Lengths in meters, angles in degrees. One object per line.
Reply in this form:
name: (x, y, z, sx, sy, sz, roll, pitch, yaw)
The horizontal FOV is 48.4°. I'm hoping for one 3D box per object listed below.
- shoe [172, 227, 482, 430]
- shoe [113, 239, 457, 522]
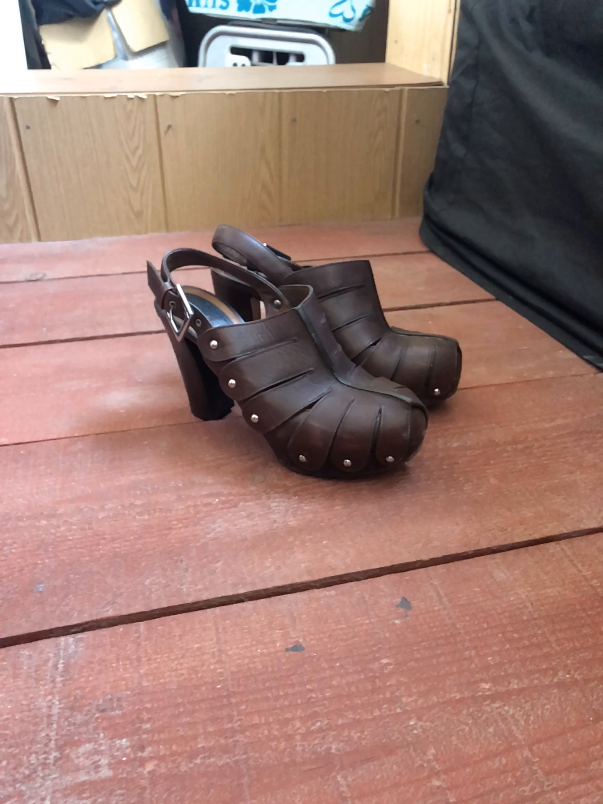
shoe: (0.019, -0.062, 0.510, 0.210, 0.110, 0.080, 10, 18, 10)
shoe: (-0.016, -0.025, 0.455, 0.210, 0.120, 0.080, 18, 34, 29)
